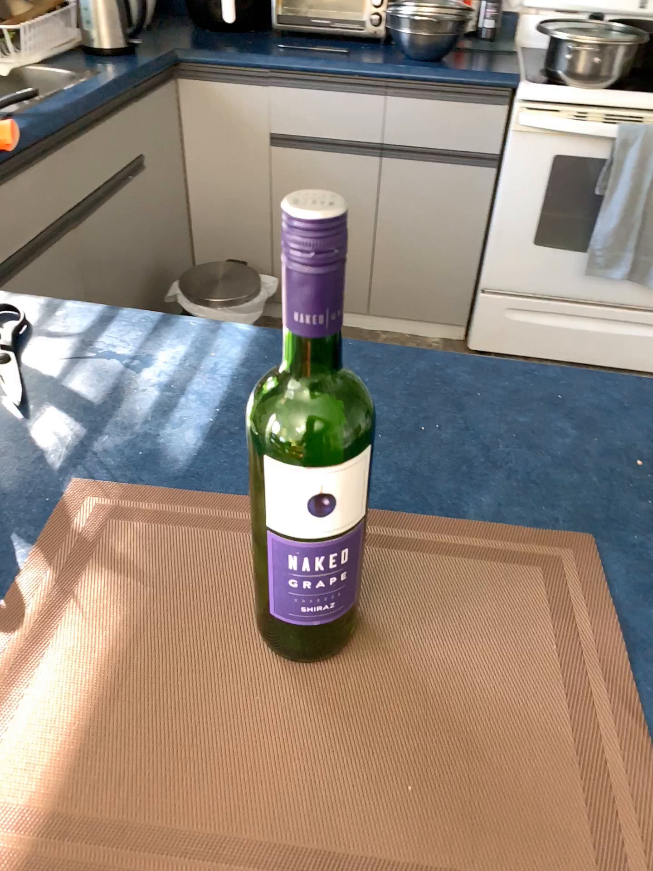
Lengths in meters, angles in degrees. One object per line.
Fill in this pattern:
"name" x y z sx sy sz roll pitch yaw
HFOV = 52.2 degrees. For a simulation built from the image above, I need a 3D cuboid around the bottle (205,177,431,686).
"bottle" -0.012 0.018 0.370 0.080 0.287 0.081 1 39 -1
